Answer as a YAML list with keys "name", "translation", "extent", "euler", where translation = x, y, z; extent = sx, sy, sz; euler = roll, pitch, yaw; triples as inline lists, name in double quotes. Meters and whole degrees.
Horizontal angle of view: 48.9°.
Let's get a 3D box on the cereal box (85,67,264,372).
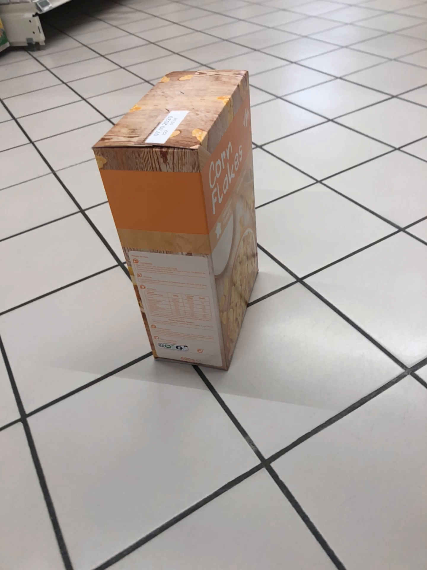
- name: "cereal box"
  translation: [-0.017, -0.074, 0.546]
  extent: [0.110, 0.278, 0.201]
  euler: [5, 42, 15]
